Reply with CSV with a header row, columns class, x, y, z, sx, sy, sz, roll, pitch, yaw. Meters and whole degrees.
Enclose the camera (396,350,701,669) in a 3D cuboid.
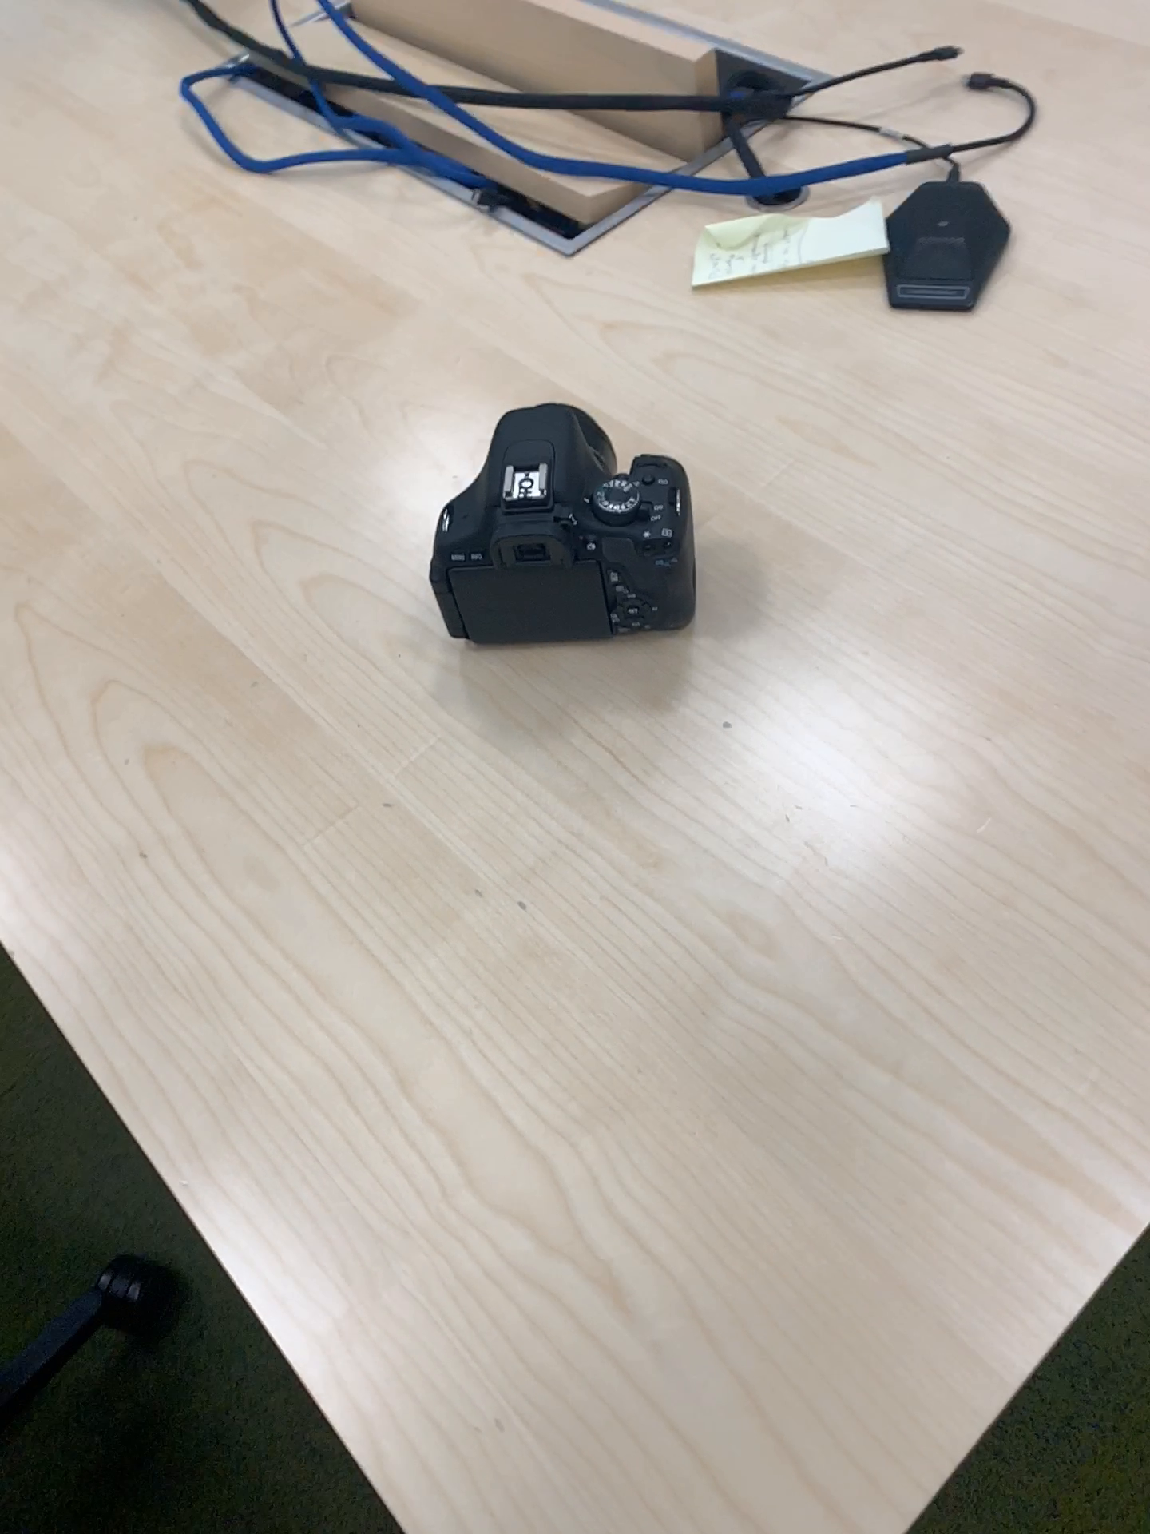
class,x,y,z,sx,sy,sz,roll,pitch,yaw
camera,-0.006,-0.134,0.625,0.140,0.100,0.123,-2,56,8
